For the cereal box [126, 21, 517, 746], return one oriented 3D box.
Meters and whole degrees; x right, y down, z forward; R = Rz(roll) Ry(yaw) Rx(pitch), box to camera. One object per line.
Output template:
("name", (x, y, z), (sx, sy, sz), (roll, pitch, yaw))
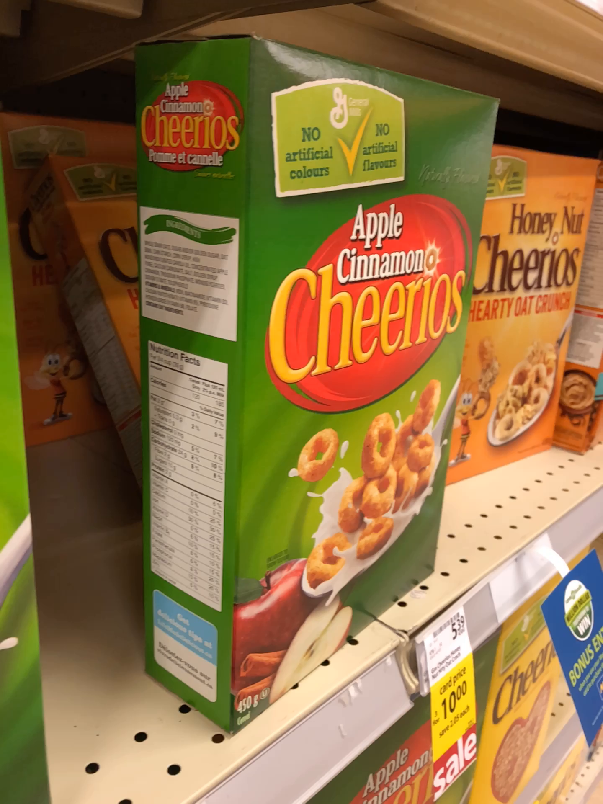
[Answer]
("cereal box", (0.018, -0.014, 0.353), (0.070, 0.289, 0.211), (17, 23, 35))
